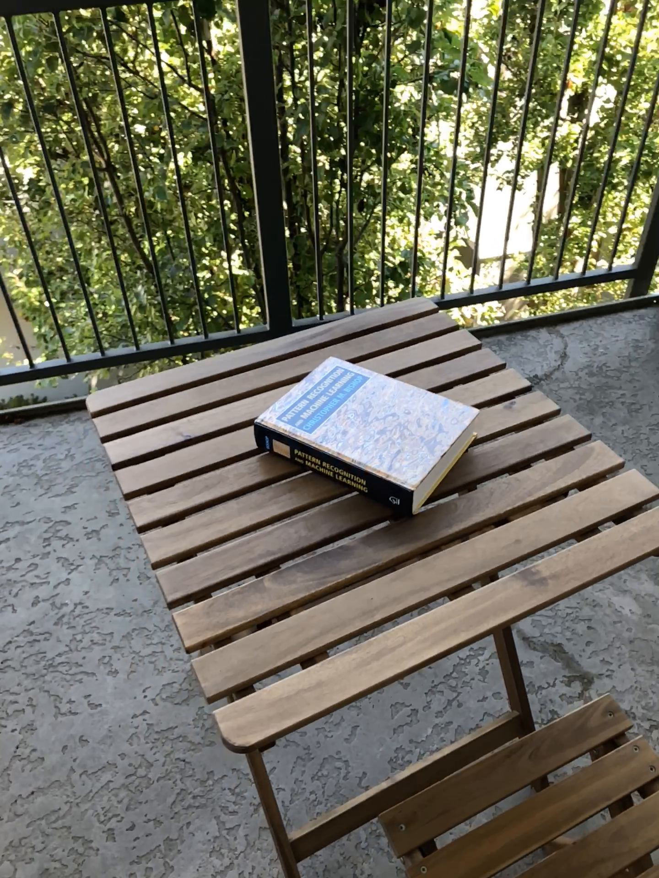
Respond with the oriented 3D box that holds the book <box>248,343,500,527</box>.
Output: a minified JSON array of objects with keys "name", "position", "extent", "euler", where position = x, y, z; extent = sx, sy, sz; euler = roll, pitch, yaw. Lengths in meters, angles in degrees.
[{"name":"book","position":[0.056,-0.018,0.919],"extent":[0.250,0.050,0.191],"euler":[23,47,26]}]
